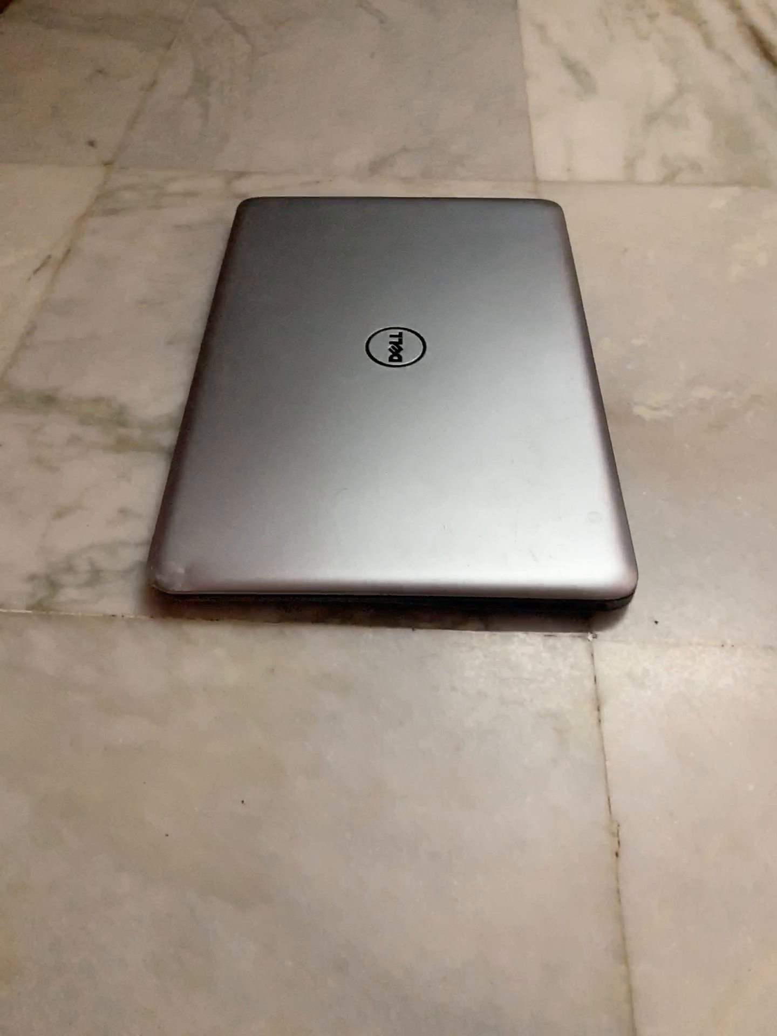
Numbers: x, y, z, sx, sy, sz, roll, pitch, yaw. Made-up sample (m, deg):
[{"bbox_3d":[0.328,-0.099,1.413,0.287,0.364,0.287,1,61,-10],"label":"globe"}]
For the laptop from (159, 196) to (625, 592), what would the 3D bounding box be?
[{"bbox_3d":[0.006,-0.105,0.505,0.234,0.001,0.352,1,53,1],"label":"laptop"}]
